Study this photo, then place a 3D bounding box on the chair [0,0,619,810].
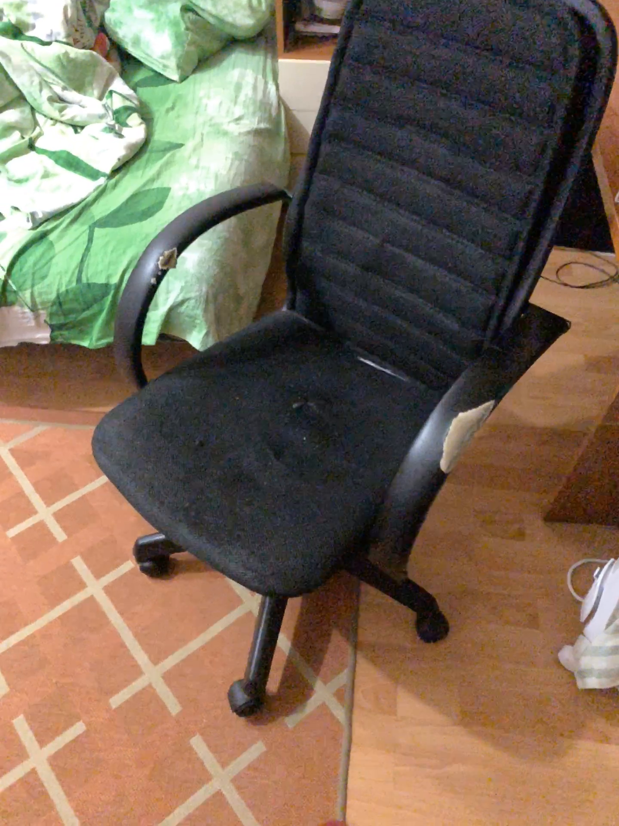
[{"bbox_3d":[0.000,-0.021,0.992,0.672,0.992,0.723,32,58,22],"label":"chair"}]
